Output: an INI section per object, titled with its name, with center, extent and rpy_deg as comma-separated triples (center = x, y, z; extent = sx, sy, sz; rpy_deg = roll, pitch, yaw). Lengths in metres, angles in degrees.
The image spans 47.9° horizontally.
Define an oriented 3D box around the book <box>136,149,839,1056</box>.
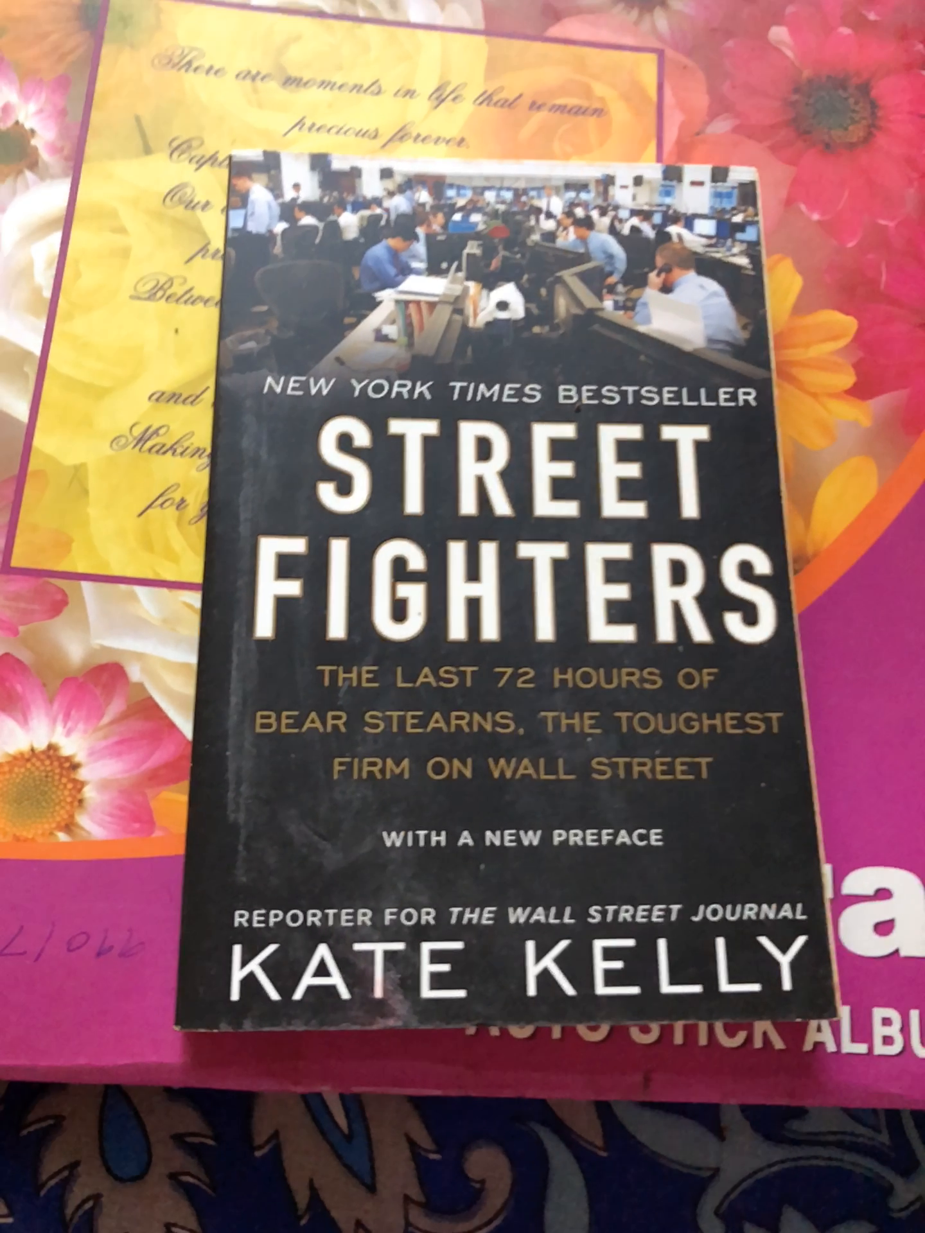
[book]
center = 0.005, -0.011, 0.248
extent = 0.140, 0.030, 0.210
rpy_deg = 0, 76, 0
